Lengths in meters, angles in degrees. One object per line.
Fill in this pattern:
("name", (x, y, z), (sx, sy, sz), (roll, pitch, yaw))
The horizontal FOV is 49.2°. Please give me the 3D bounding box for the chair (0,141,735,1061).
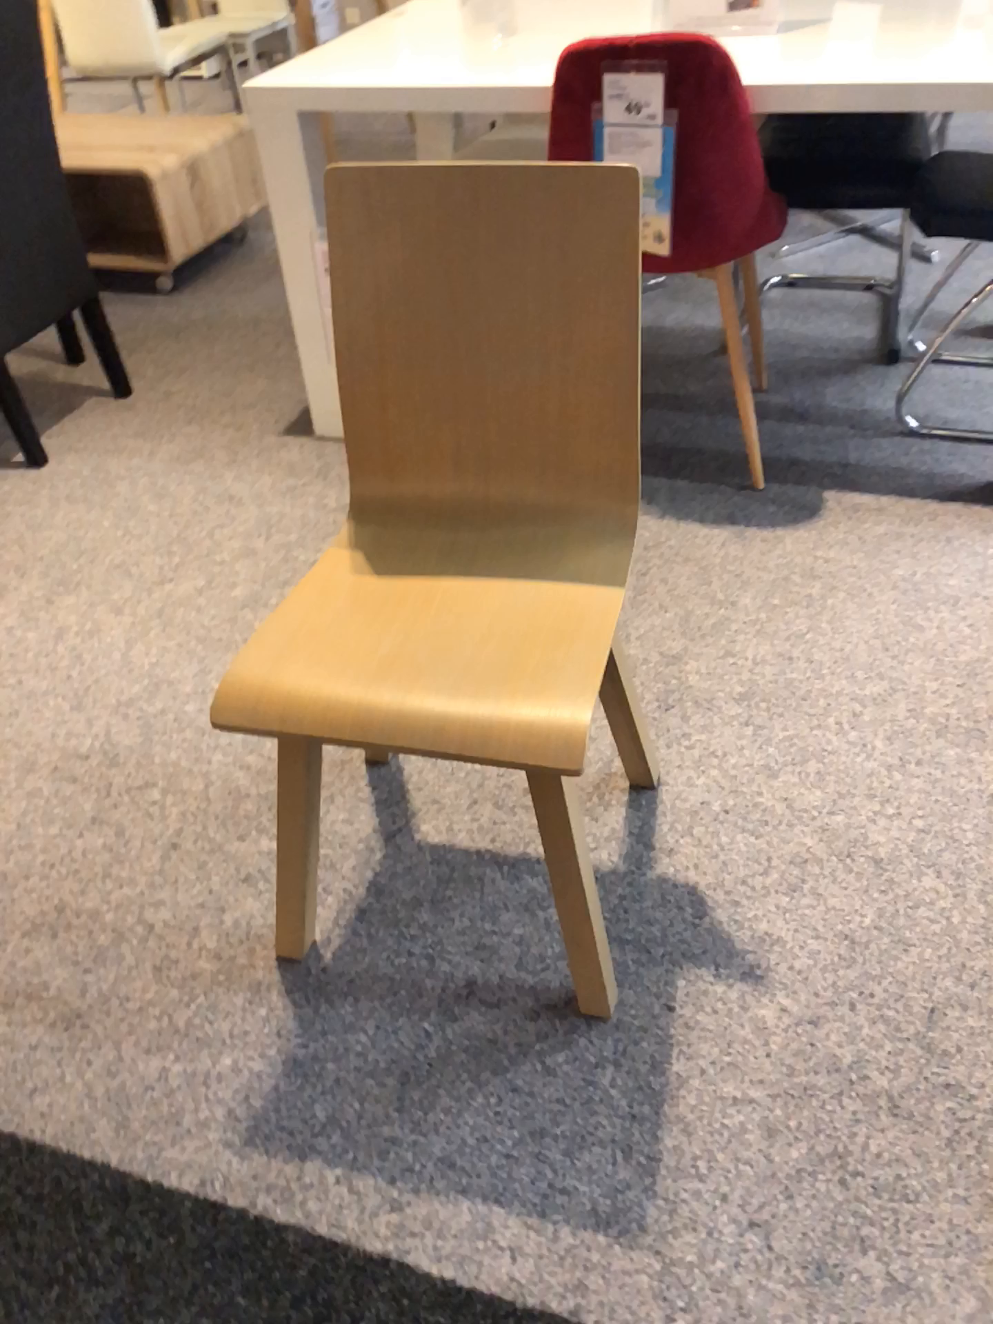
("chair", (-0.051, -0.058, 1.197), (0.520, 0.835, 0.493), (6, 40, 14))
